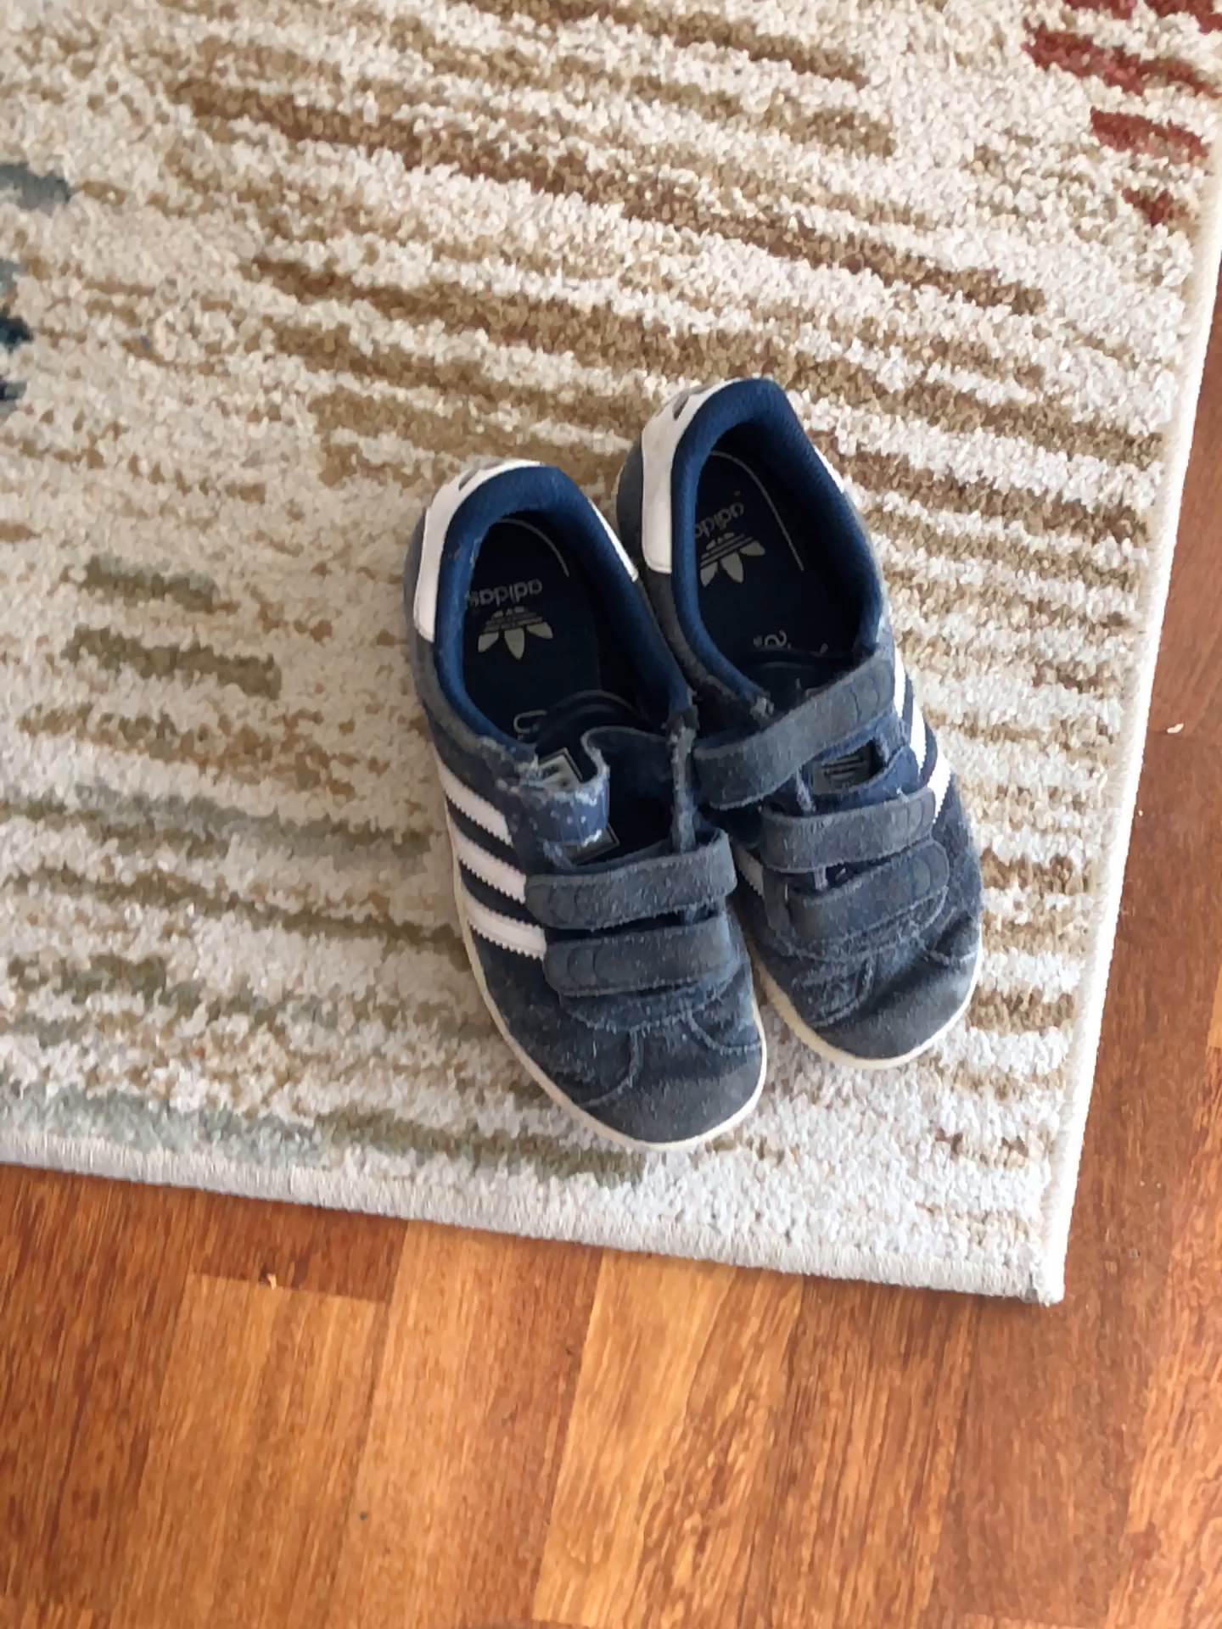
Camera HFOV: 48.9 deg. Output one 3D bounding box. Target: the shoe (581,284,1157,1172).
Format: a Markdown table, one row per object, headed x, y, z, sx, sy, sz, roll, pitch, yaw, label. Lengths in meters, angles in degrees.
| x | y | z | sx | sy | sz | roll | pitch | yaw | label |
| --- | --- | --- | --- | --- | --- | --- | --- | --- | --- |
| 0.069 | -0.024 | 0.380 | 0.086 | 0.052 | 0.219 | -18 | 91 | -8 | shoe |

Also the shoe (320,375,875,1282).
| x | y | z | sx | sy | sz | roll | pitch | yaw | label |
| --- | --- | --- | --- | --- | --- | --- | --- | --- | --- |
| -0.006 | 0.003 | 0.369 | 0.084 | 0.053 | 0.216 | -17 | 91 | -8 | shoe |
